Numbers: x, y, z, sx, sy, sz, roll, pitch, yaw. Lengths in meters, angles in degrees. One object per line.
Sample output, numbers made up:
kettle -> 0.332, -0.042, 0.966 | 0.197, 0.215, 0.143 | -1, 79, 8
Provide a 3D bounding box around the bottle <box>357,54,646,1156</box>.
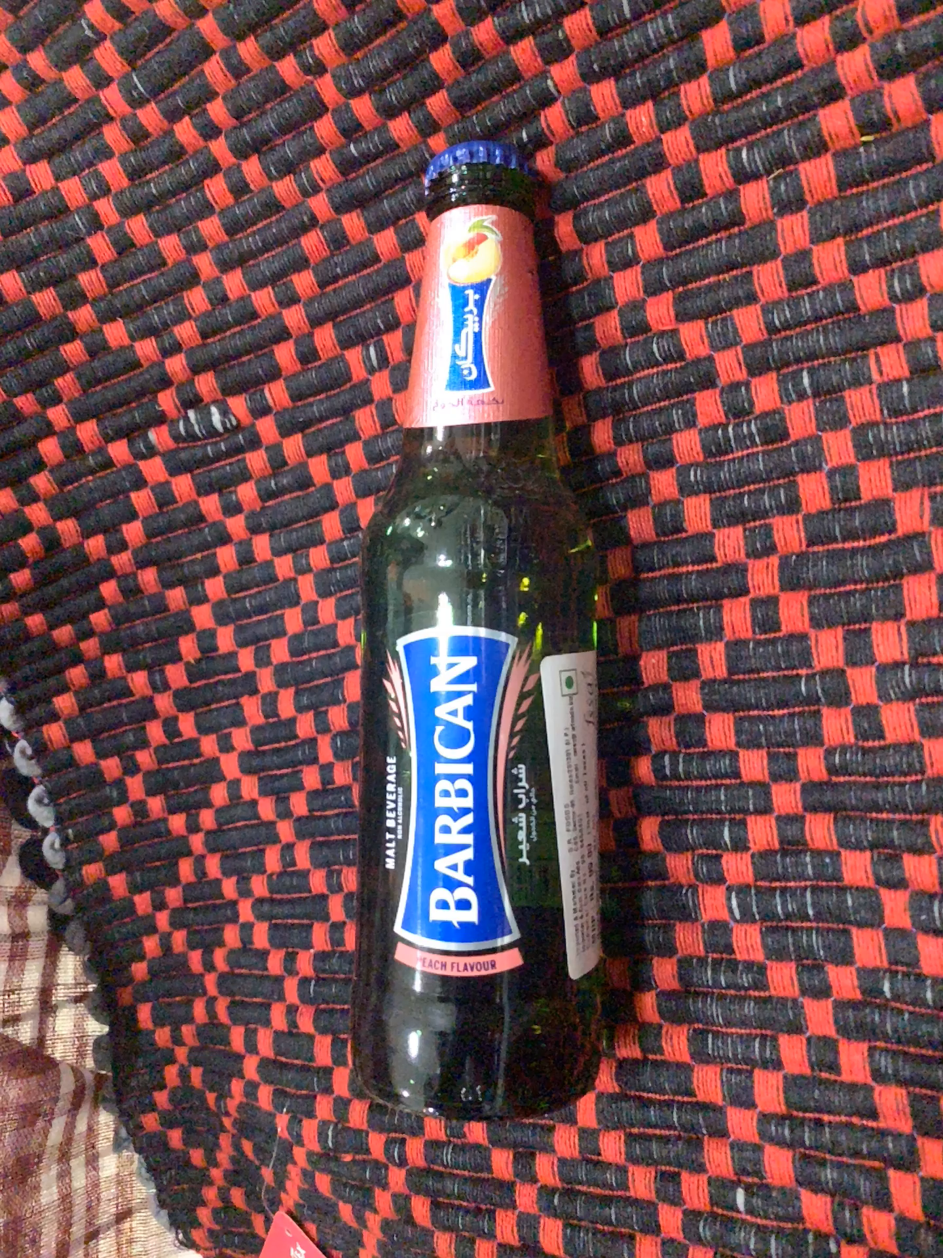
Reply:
bottle -> 0.006, -0.007, 0.224 | 0.050, 0.050, 0.220 | 163, 108, -73
